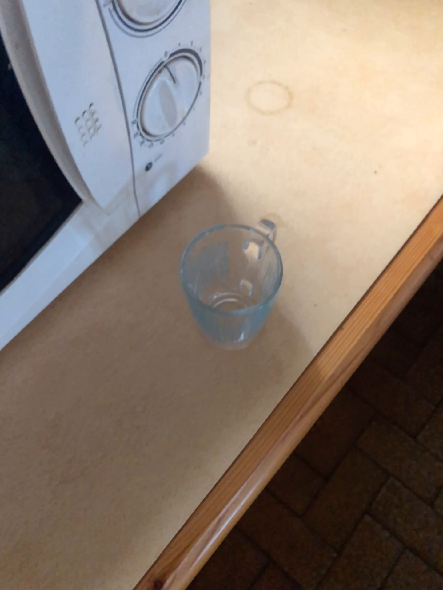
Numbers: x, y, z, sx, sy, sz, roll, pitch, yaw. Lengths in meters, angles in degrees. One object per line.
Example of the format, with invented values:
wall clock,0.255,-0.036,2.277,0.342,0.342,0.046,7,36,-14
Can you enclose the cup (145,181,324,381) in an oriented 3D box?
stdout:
cup,0.008,-0.006,0.298,0.060,0.070,0.080,35,69,15
